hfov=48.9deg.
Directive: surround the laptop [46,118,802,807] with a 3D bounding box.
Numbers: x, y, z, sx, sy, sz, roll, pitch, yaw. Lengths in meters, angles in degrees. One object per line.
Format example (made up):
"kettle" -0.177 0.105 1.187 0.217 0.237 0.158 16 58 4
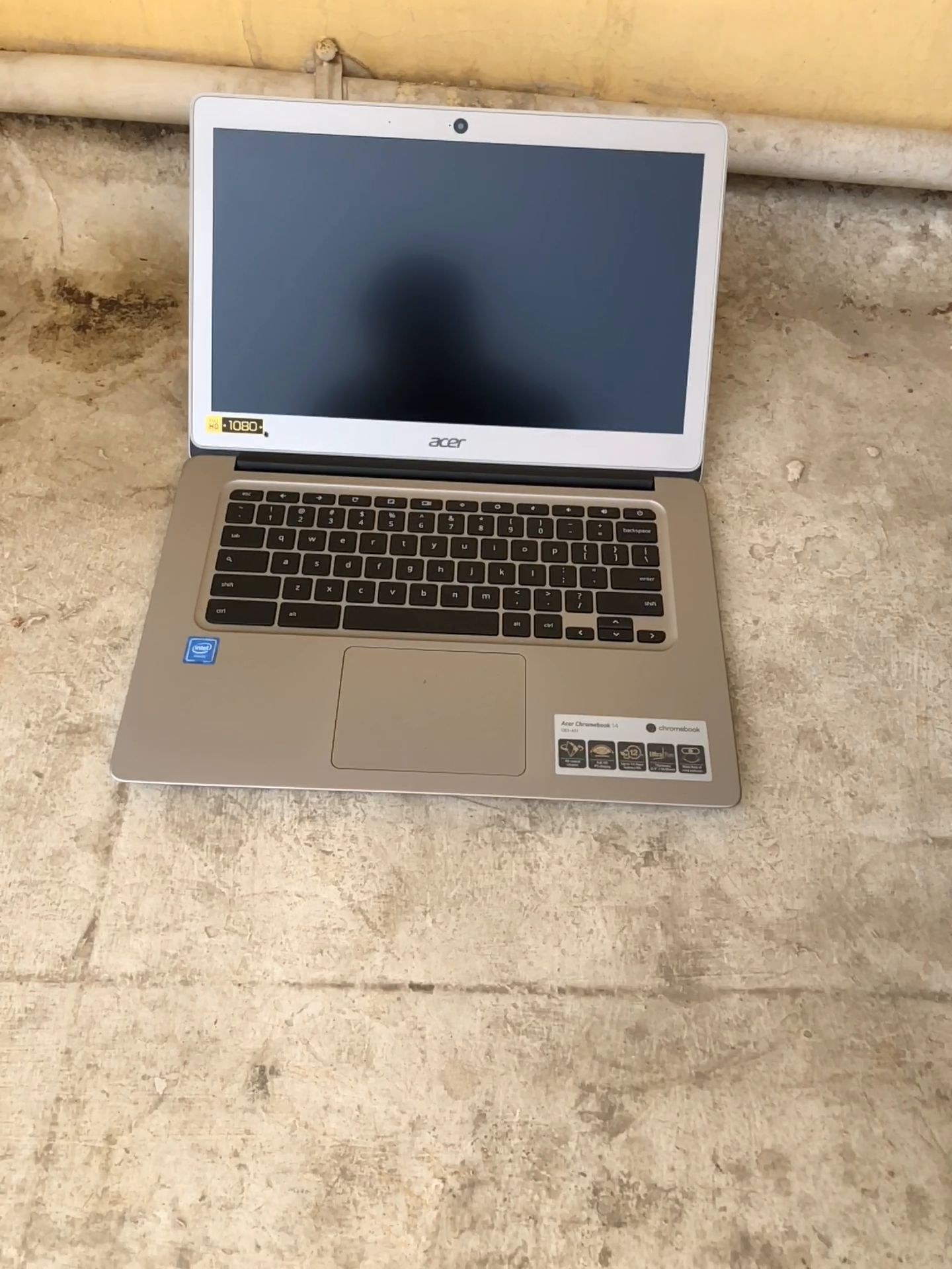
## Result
"laptop" -0.022 -0.111 0.595 0.315 0.136 0.380 2 58 -1
